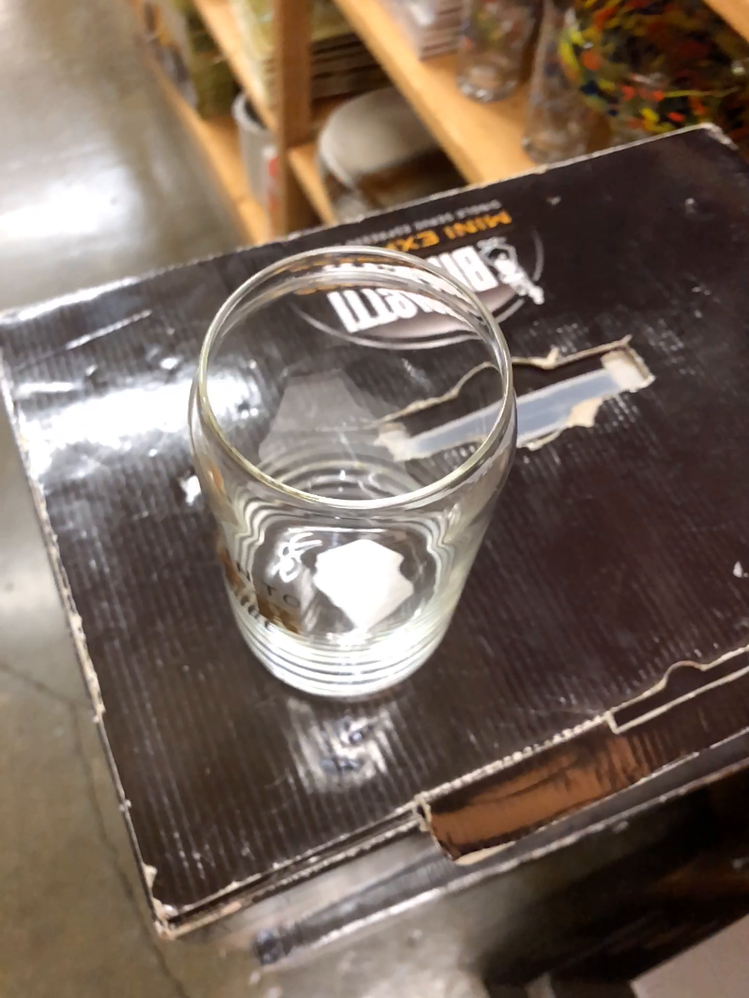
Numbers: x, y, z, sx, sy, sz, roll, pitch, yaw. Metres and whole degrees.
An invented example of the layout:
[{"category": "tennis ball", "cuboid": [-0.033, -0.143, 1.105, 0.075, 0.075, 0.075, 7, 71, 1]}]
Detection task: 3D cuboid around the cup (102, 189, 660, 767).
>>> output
[{"category": "cup", "cuboid": [-0.005, 0.002, 0.220, 0.087, 0.116, 0.081, 2, 61, -3]}]
